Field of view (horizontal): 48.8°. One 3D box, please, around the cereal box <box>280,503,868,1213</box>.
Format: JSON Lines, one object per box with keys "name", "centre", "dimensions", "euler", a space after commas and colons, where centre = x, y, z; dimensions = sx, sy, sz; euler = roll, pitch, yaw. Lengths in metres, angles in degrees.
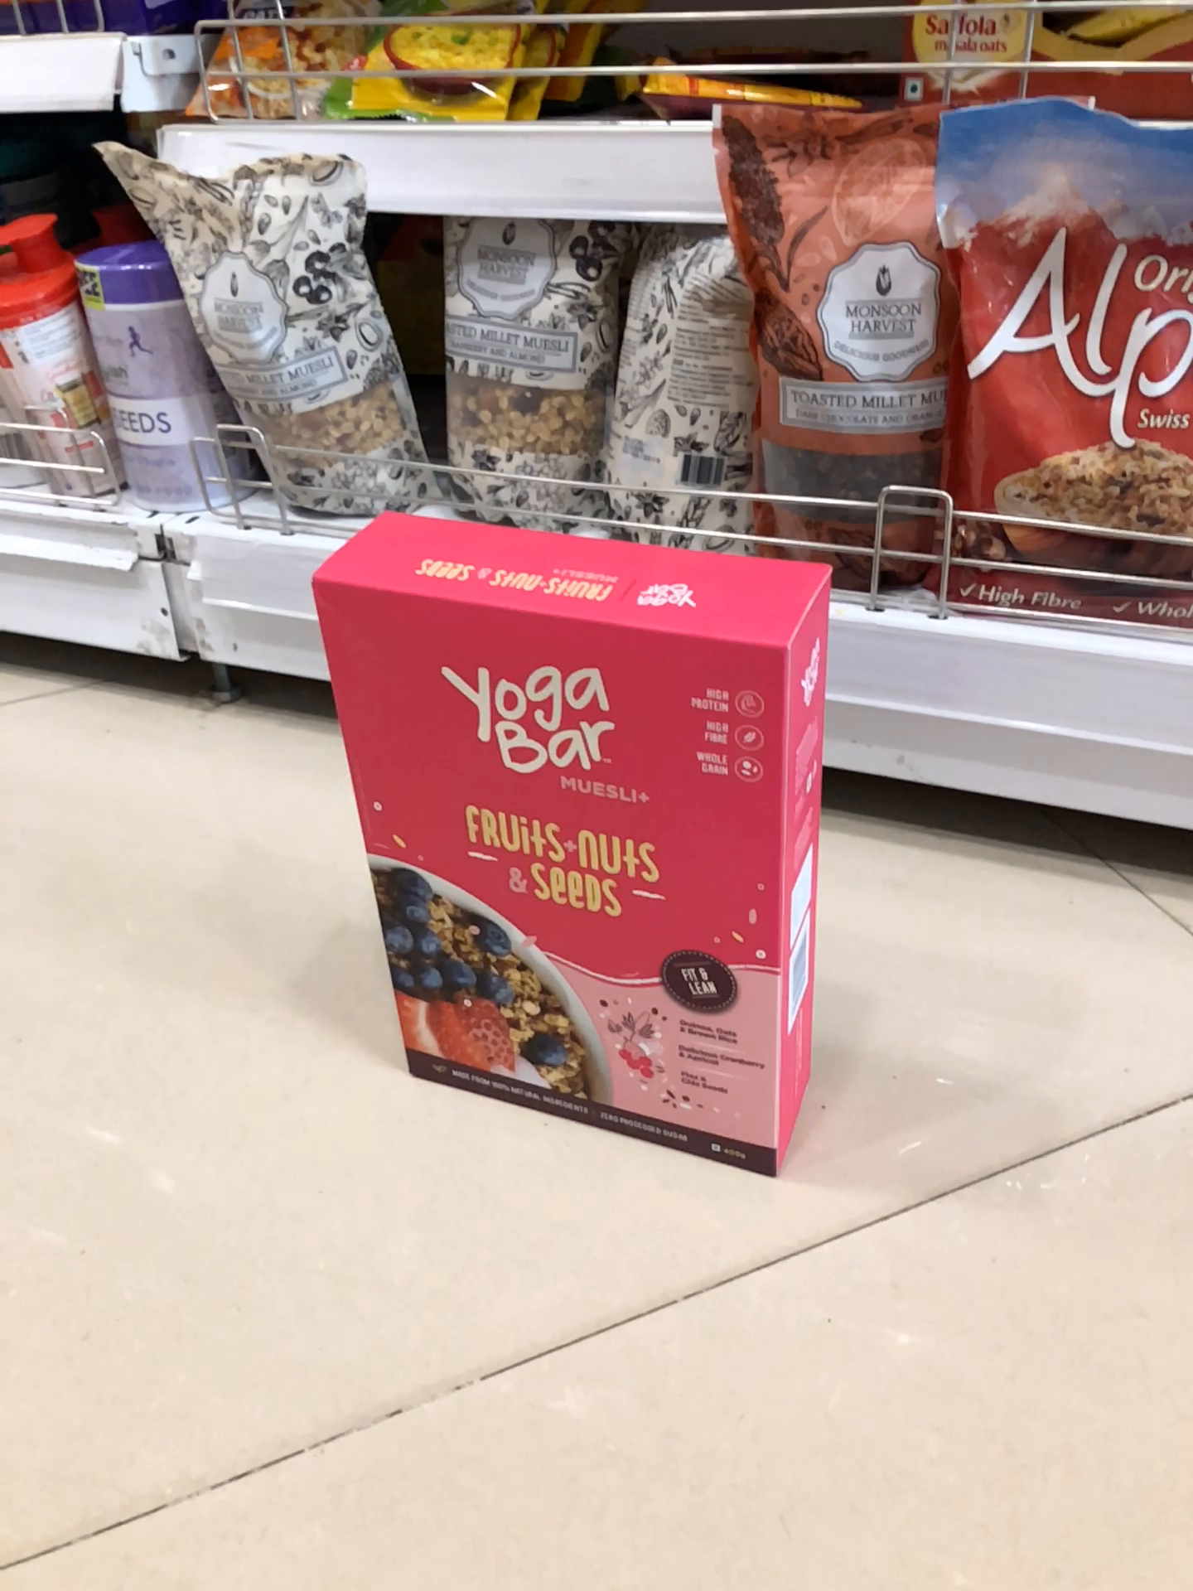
{"name": "cereal box", "centre": [-0.001, 0.025, 0.464], "dimensions": [0.170, 0.229, 0.060], "euler": [11, 36, 21]}
